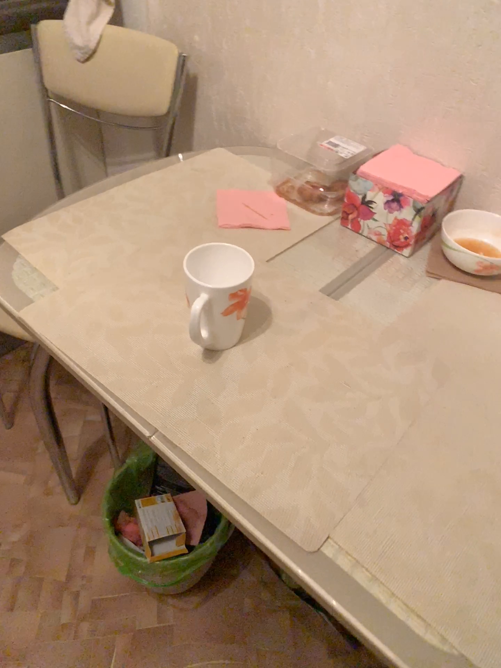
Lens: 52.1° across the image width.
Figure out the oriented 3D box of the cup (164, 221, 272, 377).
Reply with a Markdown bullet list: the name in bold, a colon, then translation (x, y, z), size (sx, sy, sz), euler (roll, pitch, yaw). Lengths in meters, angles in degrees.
- **cup**: translation (-0.033, -0.041, 0.573), size (0.080, 0.109, 0.121), euler (12, 45, 8)
